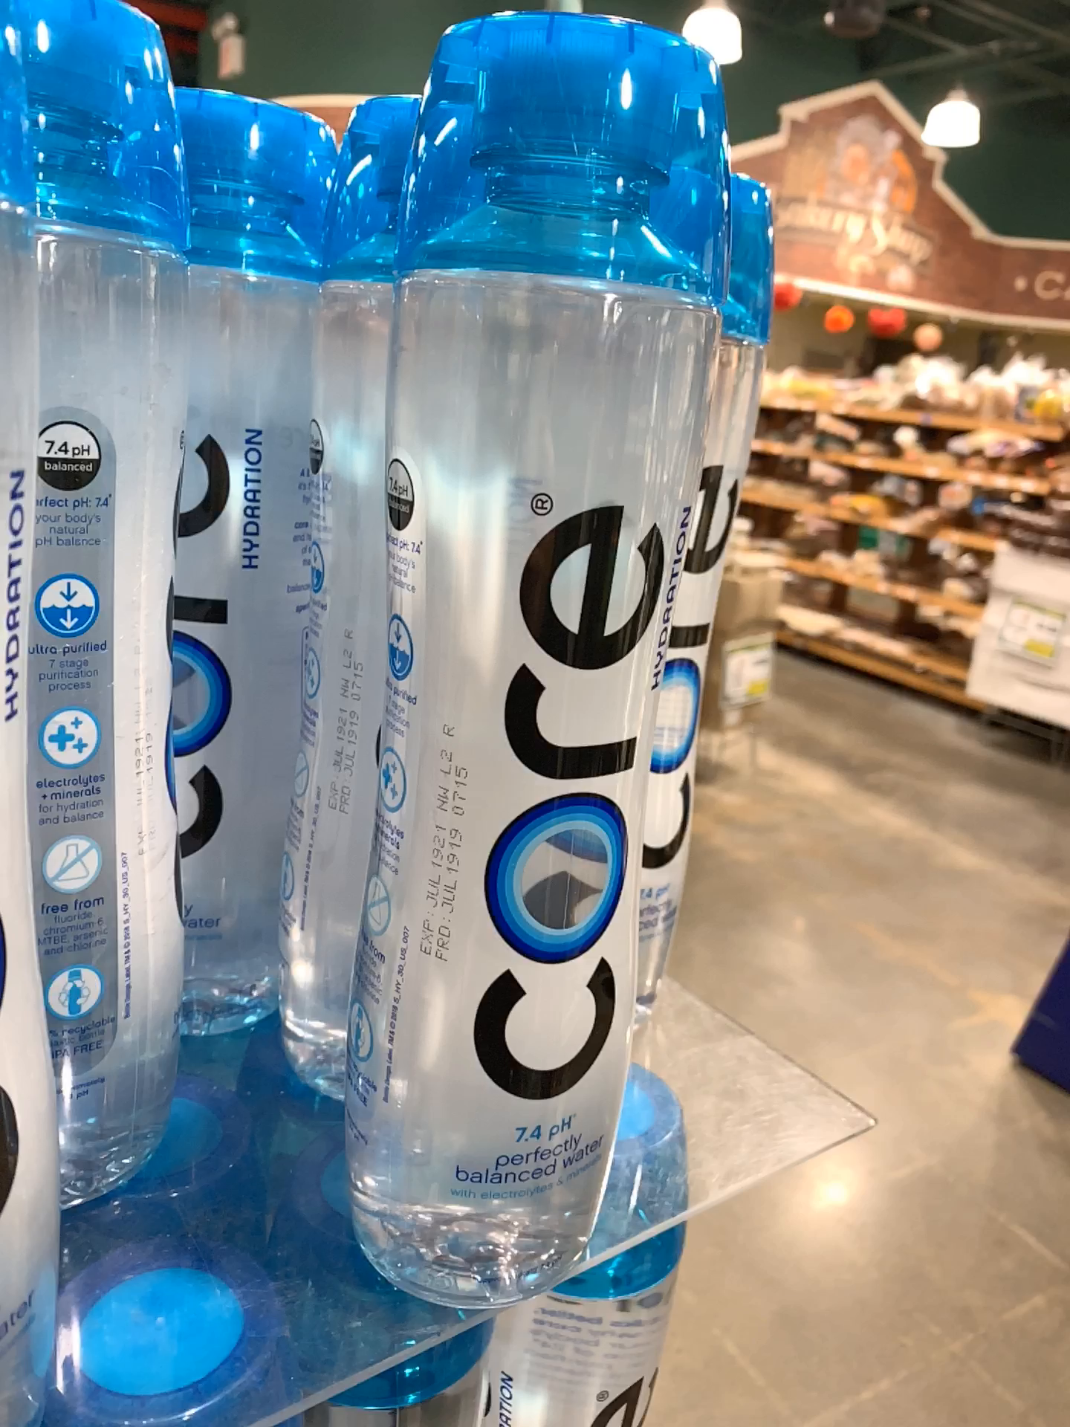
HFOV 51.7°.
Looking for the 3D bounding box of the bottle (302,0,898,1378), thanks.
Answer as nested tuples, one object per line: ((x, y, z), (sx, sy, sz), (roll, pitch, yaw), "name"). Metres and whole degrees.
((0.001, 0.000, 0.273), (0.080, 0.289, 0.090), (-3, 18, -28), "bottle")
